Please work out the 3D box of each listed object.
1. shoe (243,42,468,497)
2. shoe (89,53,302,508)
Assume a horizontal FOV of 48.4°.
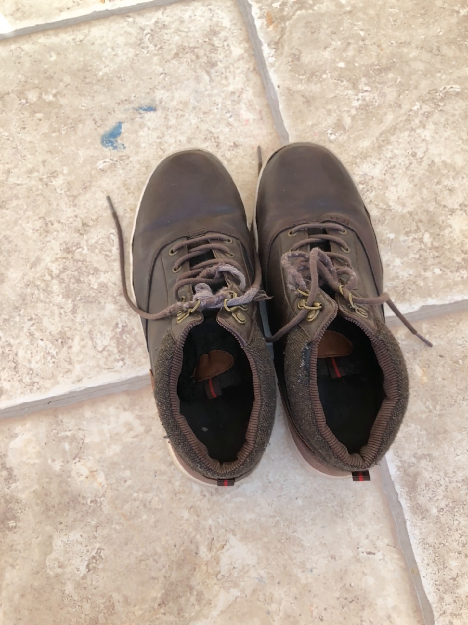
[{"bbox_3d":[0.077,-0.025,0.407,0.110,0.150,0.301,-6,74,1],"label":"shoe"},{"bbox_3d":[-0.030,-0.019,0.411,0.110,0.150,0.301,-7,74,0],"label":"shoe"}]
